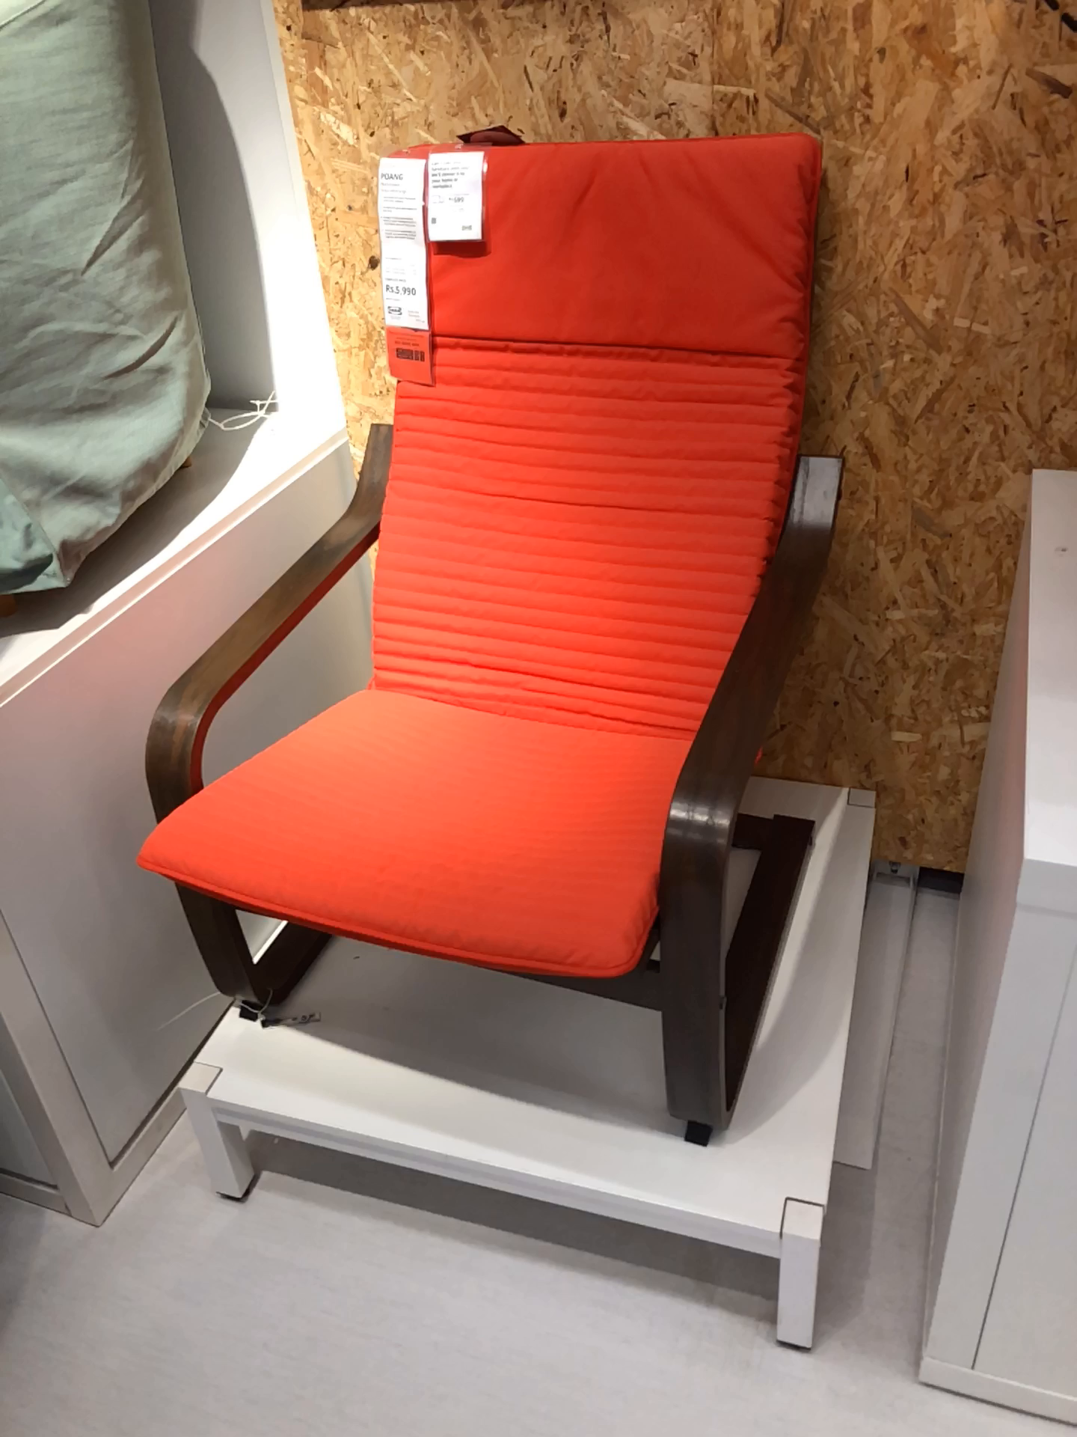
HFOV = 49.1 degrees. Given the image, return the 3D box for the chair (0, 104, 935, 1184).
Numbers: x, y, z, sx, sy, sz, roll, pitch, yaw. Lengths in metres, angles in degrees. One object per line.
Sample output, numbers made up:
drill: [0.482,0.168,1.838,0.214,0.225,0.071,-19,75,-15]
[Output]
chair: [-0.009,-0.160,1.403,0.751,0.894,0.794,9,36,20]
